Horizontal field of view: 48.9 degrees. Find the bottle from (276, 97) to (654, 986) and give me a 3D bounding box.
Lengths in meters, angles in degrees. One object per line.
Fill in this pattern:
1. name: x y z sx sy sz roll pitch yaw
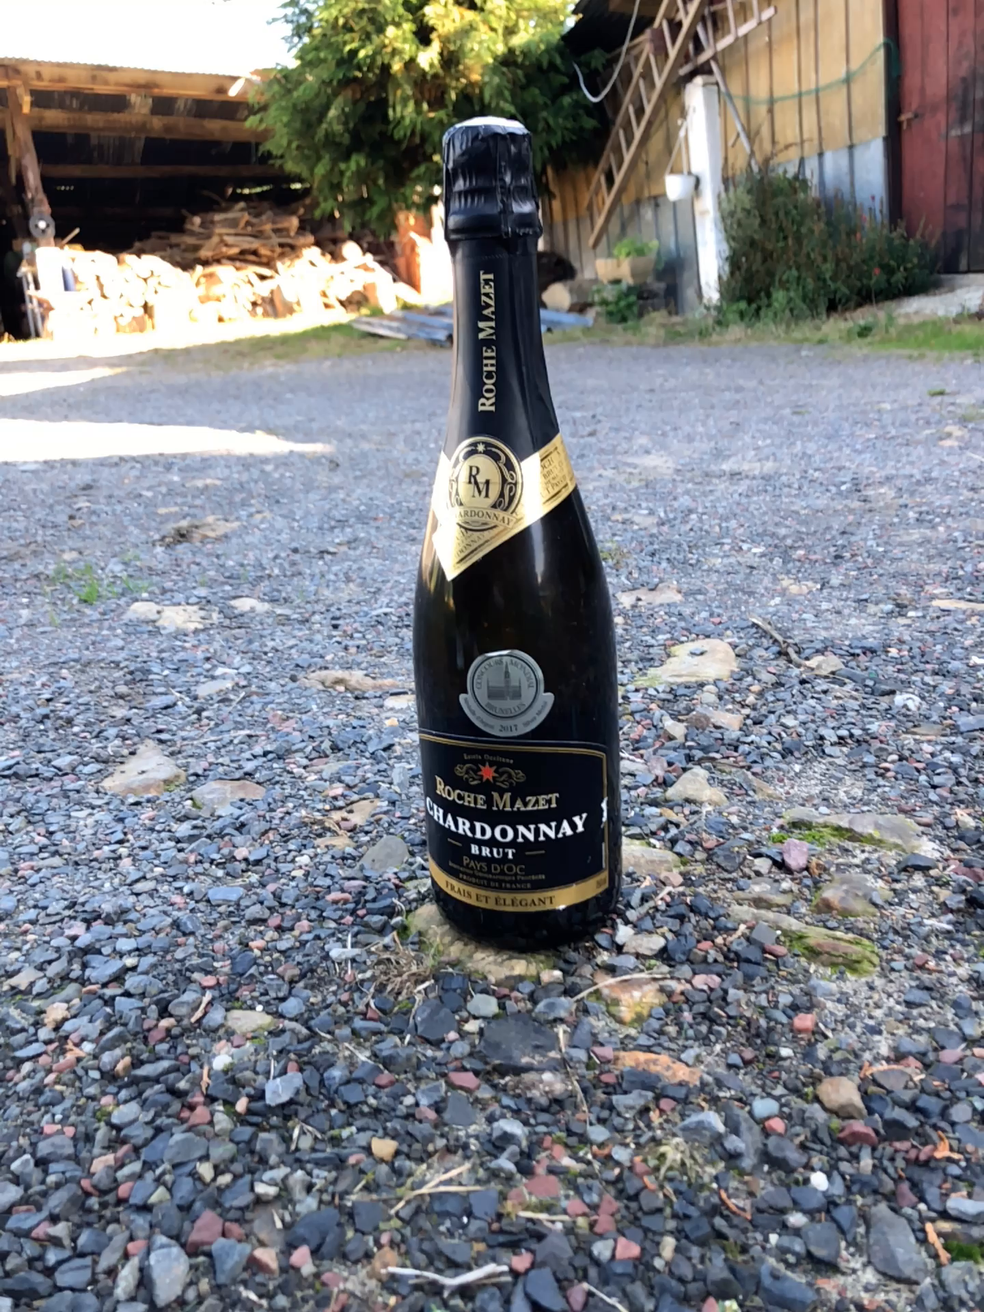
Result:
1. bottle: 0.001 -0.038 0.418 0.100 0.299 0.101 -2 18 1
